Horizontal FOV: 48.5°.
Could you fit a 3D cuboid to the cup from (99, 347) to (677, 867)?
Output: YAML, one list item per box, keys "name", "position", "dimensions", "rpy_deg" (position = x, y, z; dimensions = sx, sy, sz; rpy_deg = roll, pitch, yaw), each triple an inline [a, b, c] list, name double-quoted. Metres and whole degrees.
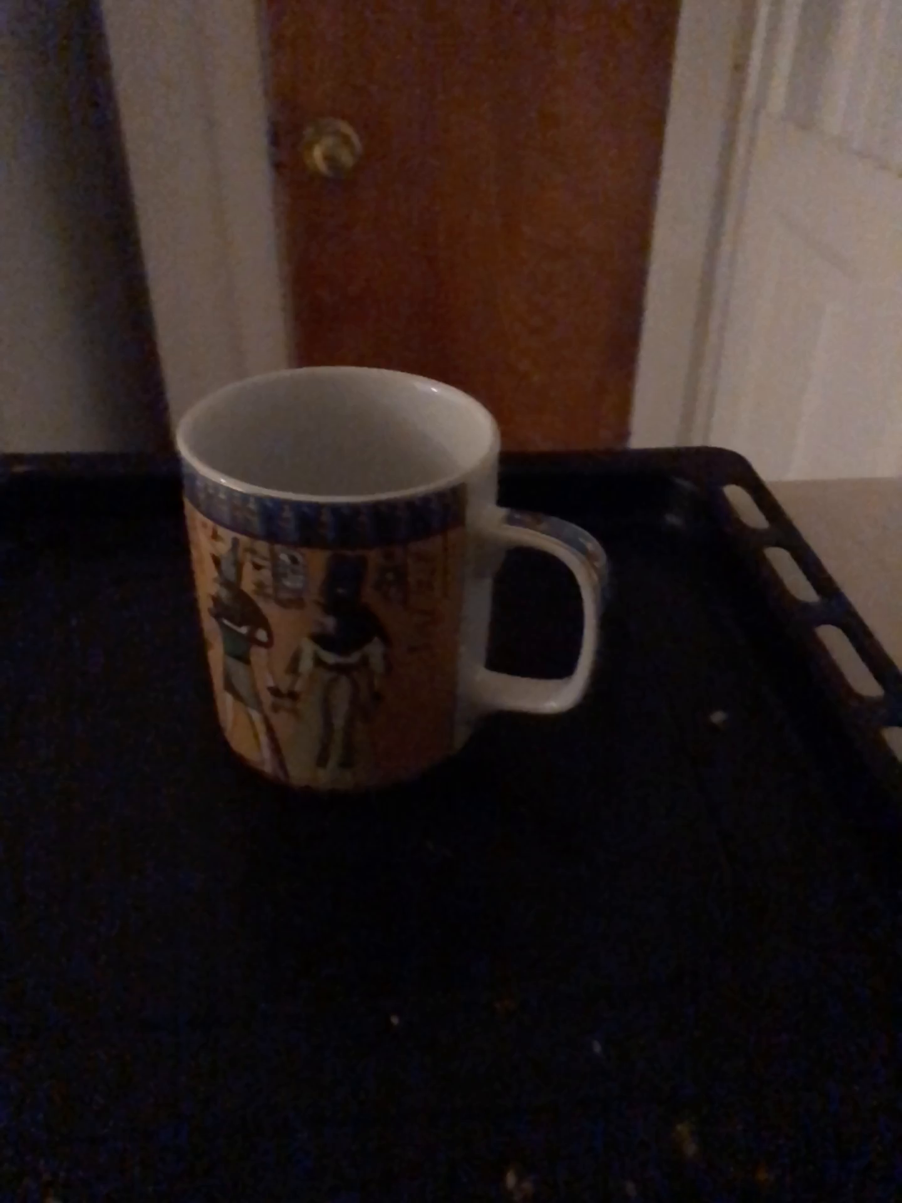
- name: "cup"
  position: [-0.011, -0.004, 0.270]
  dimensions: [0.120, 0.089, 0.081]
  rpy_deg: [11, 36, 15]
